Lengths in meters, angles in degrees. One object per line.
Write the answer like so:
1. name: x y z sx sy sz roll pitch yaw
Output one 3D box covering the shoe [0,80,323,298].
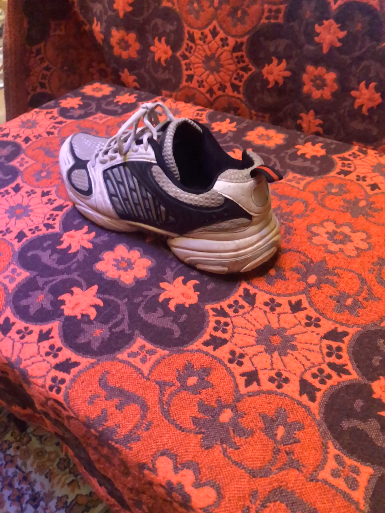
1. shoe: -0.044 -0.089 0.442 0.311 0.090 0.120 25 48 27
